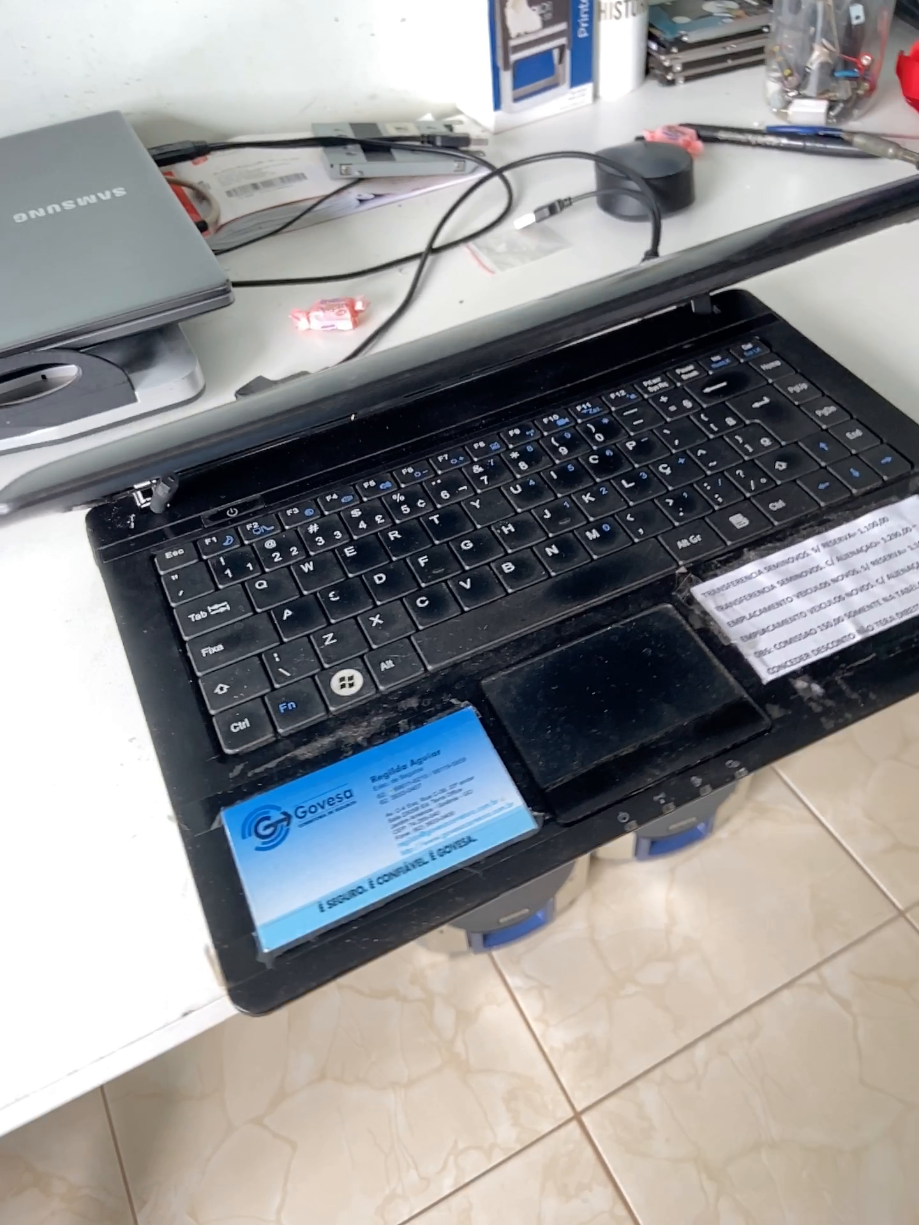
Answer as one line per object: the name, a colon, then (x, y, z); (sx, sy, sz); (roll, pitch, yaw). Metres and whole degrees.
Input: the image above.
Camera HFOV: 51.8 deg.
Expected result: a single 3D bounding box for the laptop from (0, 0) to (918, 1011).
laptop: (0.035, -0.072, 0.323); (0.335, 0.144, 0.228); (-22, 50, -13)
